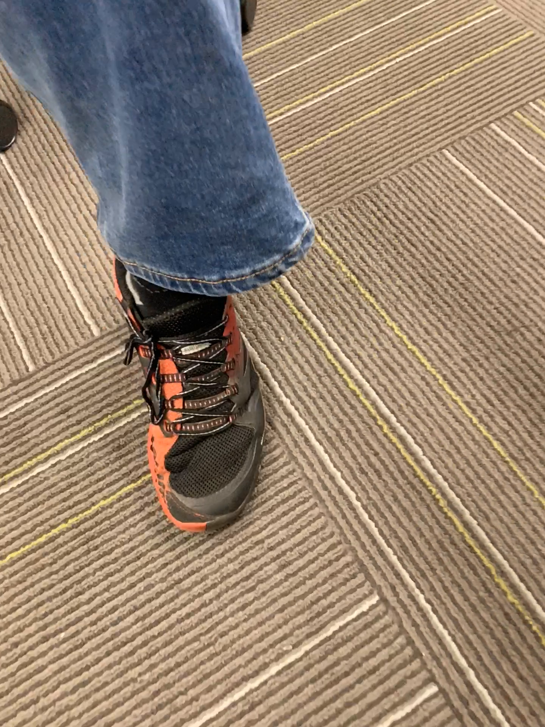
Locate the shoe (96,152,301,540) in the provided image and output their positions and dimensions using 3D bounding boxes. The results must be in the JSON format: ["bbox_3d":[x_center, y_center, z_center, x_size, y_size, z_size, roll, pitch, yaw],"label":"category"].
[{"bbox_3d":[-0.069,-0.017,0.527,0.126,0.107,0.314,-9,90,-8],"label":"shoe"}]
